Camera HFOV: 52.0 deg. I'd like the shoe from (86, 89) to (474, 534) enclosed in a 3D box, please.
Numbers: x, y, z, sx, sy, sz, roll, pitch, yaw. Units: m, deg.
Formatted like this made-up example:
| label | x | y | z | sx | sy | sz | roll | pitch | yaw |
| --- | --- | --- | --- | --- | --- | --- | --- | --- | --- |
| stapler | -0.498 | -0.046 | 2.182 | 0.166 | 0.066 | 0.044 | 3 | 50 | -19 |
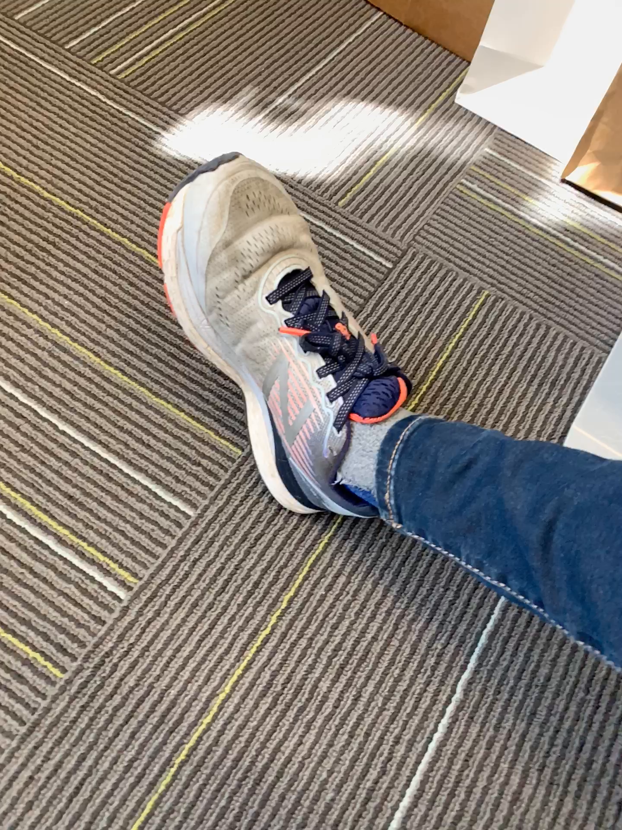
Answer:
| label | x | y | z | sx | sy | sz | roll | pitch | yaw |
| --- | --- | --- | --- | --- | --- | --- | --- | --- | --- |
| shoe | -0.014 | -0.058 | 0.420 | 0.120 | 0.110 | 0.230 | -41 | 113 | -24 |
